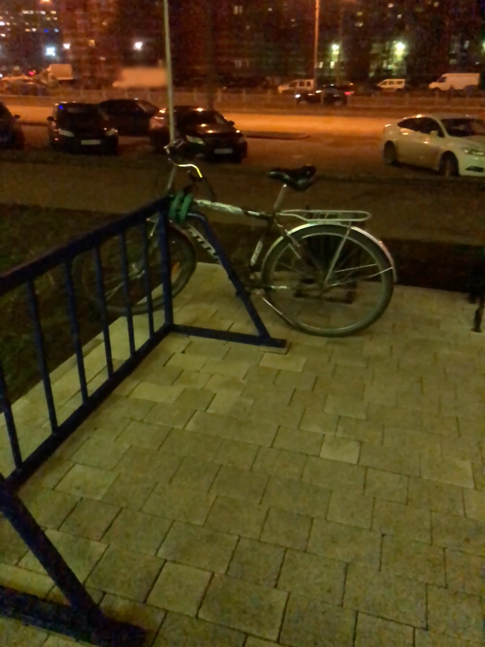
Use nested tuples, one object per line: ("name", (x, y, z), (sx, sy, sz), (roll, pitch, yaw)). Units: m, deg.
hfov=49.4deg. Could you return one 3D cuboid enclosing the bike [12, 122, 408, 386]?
("bike", (-0.087, -0.398, 2.783), (1.717, 1.046, 0.683), (6, 26, 5))
